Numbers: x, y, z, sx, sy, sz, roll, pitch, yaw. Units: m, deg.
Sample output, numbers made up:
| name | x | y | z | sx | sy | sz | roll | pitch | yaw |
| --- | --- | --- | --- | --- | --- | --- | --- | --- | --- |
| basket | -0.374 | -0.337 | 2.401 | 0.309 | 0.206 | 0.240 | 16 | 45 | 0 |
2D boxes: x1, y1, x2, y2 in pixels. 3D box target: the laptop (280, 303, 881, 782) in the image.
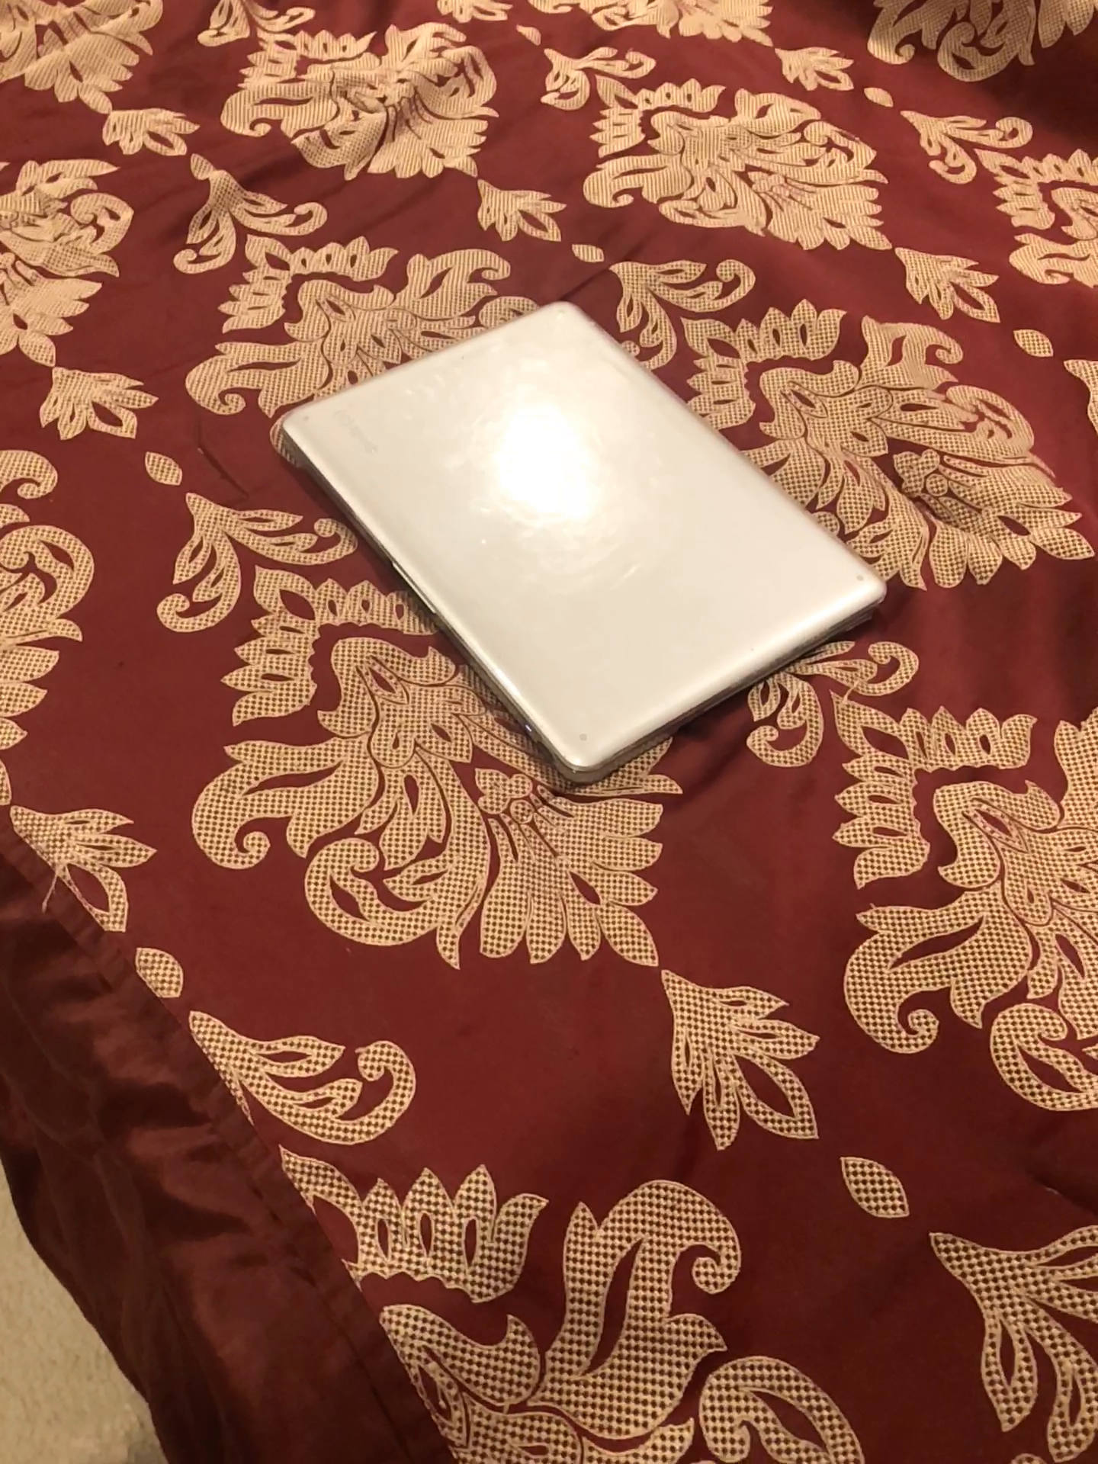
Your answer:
| name | x | y | z | sx | sy | sz | roll | pitch | yaw |
| --- | --- | --- | --- | --- | --- | --- | --- | --- | --- |
| laptop | 0.008 | -0.130 | 0.698 | 0.207 | 0.015 | 0.305 | -29 | 59 | -20 |
